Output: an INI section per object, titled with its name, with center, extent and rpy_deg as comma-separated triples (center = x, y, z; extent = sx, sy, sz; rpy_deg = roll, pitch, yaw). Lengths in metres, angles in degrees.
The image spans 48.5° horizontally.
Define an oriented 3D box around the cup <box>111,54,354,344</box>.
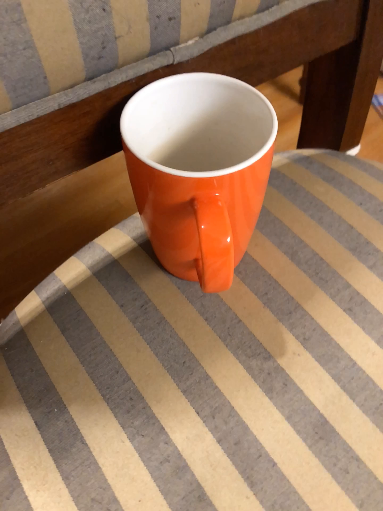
[cup]
center = 0.012, -0.032, 0.249
extent = 0.090, 0.099, 0.121
rpy_deg = -10, 57, -7
